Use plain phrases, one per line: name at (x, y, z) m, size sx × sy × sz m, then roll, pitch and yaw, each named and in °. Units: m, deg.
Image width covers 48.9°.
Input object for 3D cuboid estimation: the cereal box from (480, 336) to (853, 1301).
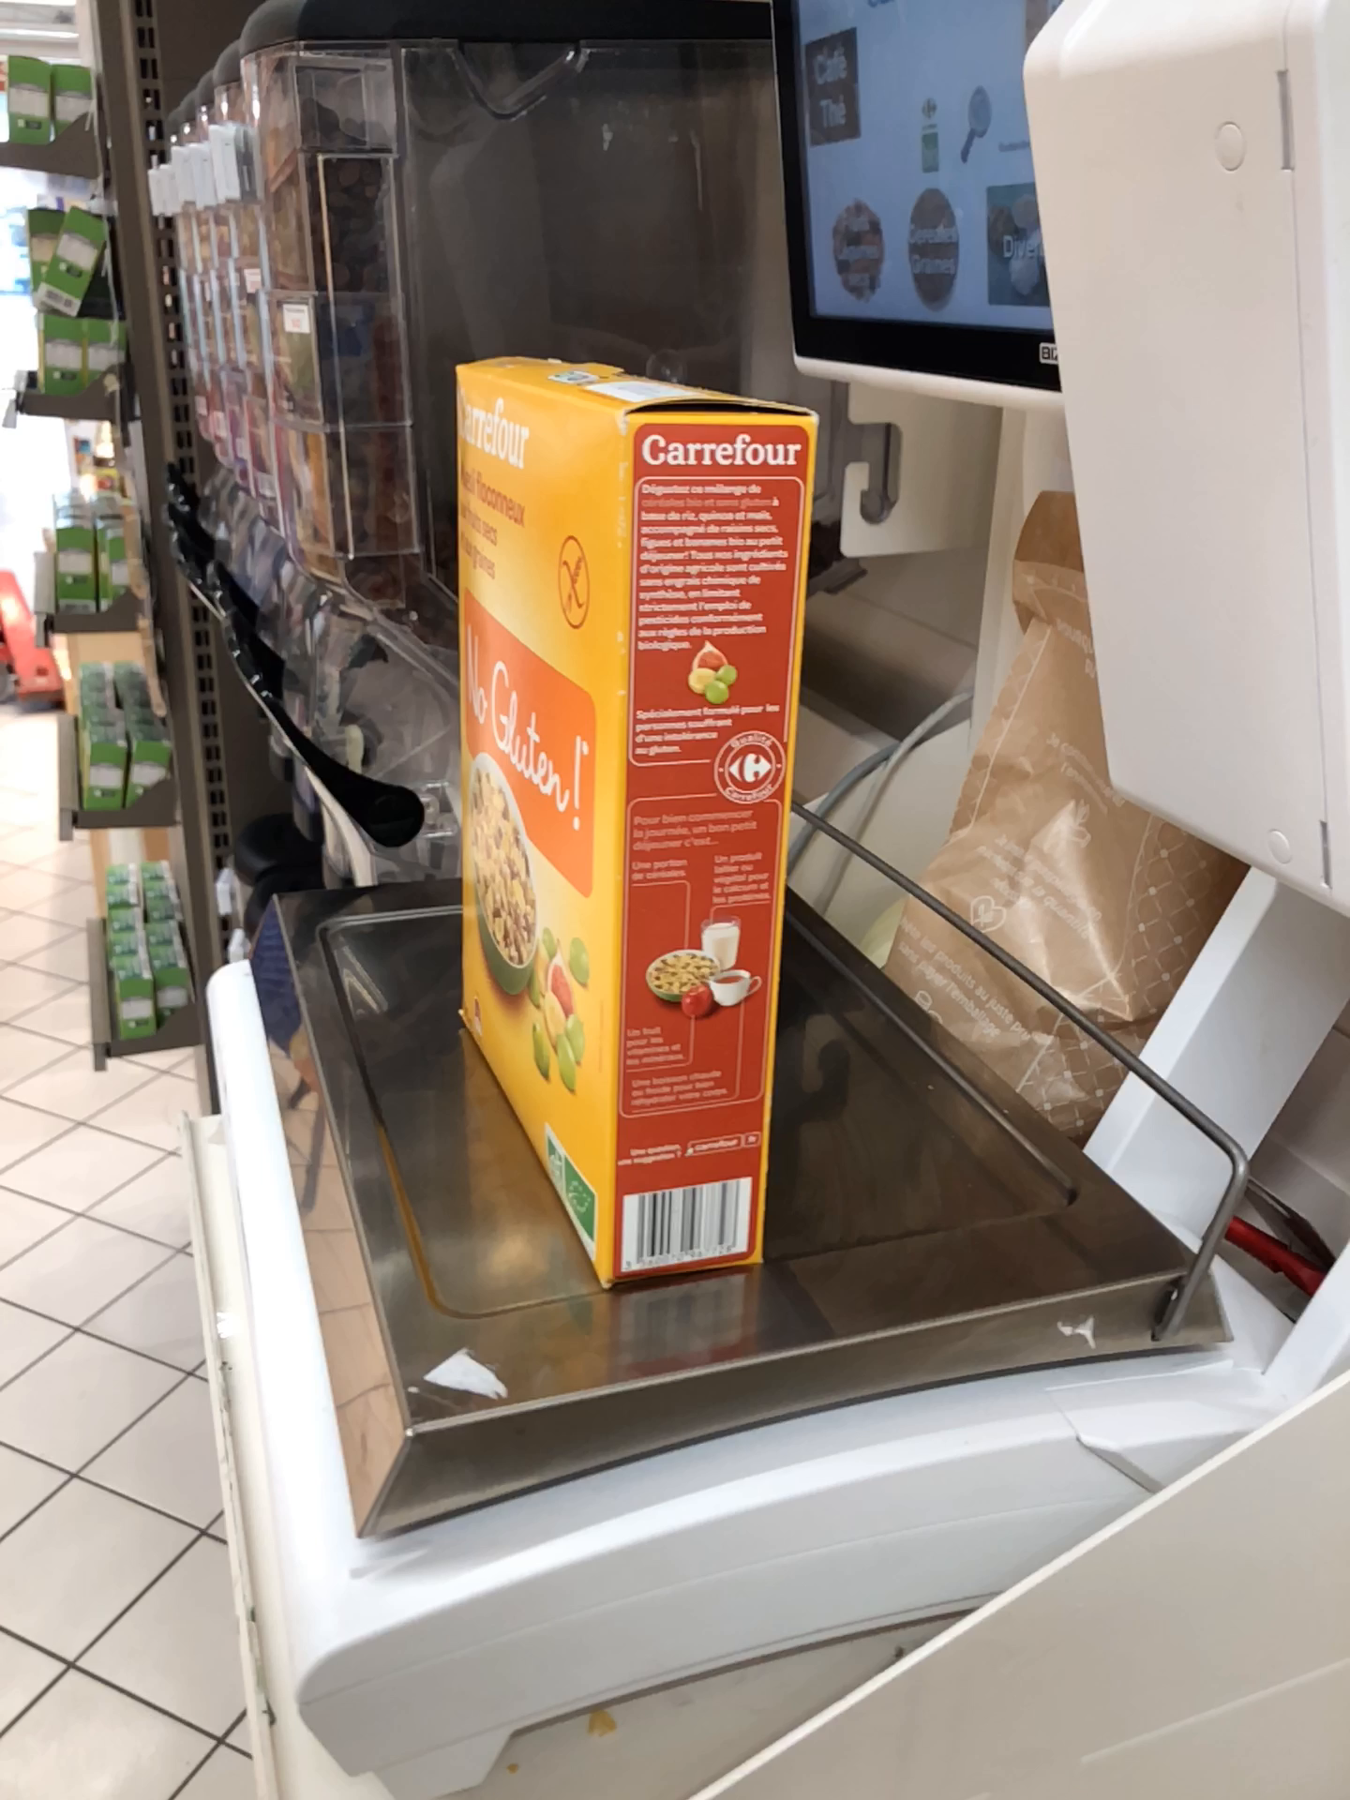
cereal box at (-0.017, -0.040, 0.480) m, size 0.050 × 0.259 × 0.191 m, roll -5°, pitch 23°, yaw -19°
